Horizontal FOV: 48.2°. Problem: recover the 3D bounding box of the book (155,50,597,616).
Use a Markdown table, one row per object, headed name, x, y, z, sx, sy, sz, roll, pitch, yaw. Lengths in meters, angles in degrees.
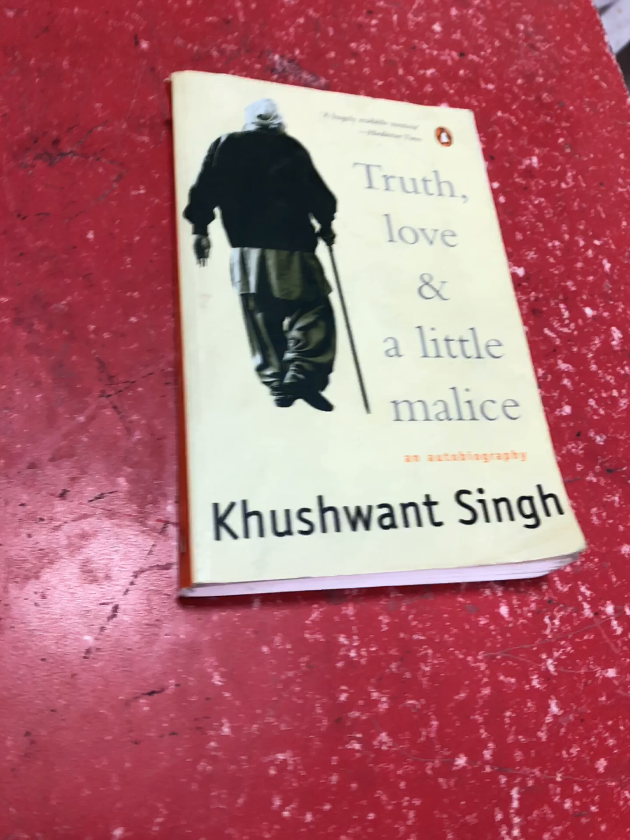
| name | x | y | z | sx | sy | sz | roll | pitch | yaw |
| --- | --- | --- | --- | --- | --- | --- | --- | --- | --- |
| book | 0.012 | -0.039 | 0.273 | 0.140 | 0.040 | 0.210 | 1 | 67 | -15 |
